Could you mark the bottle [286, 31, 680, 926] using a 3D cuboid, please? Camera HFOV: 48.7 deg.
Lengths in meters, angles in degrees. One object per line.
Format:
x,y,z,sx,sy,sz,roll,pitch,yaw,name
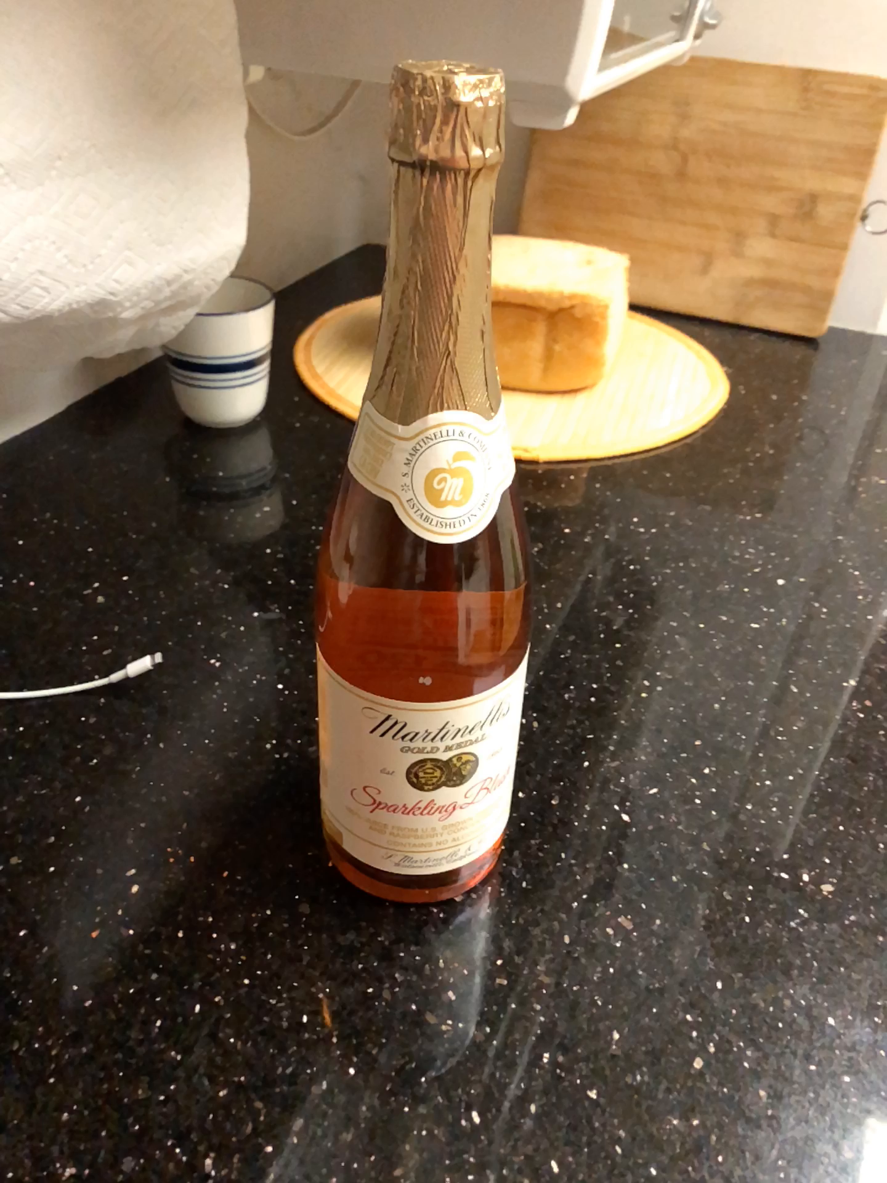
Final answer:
-0.003,-0.019,0.344,0.090,0.298,0.091,2,35,-2,bottle
